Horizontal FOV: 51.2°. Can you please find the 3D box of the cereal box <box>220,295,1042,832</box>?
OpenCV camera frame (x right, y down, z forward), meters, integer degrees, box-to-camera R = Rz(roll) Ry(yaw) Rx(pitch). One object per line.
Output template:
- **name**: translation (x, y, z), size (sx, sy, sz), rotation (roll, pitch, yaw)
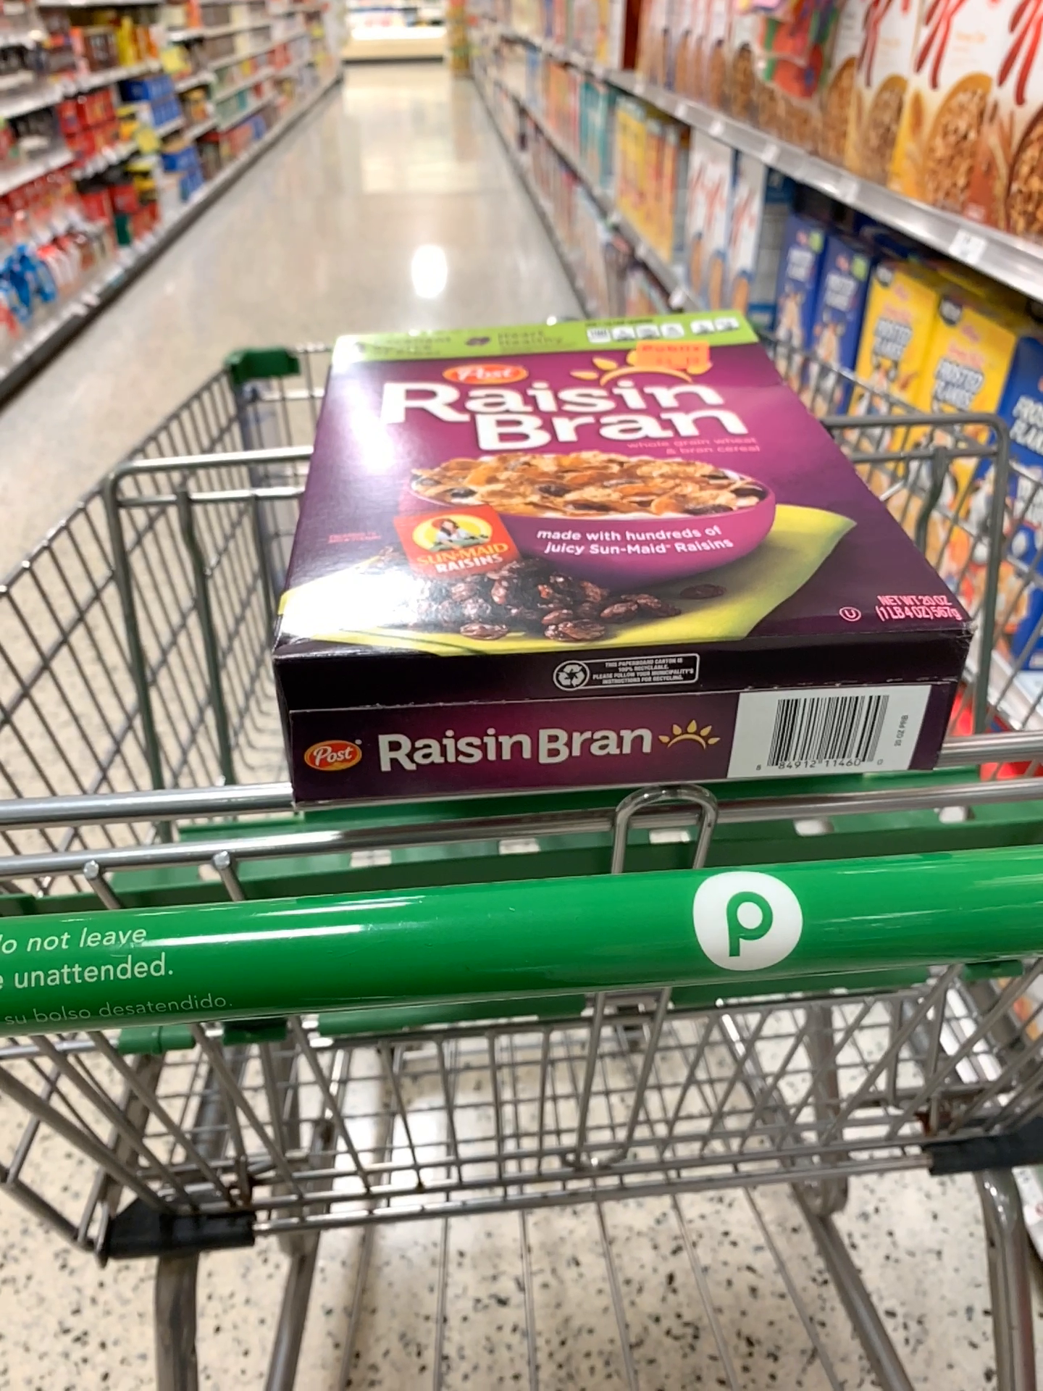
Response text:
- **cereal box**: translation (0.020, -0.075, 0.404), size (0.210, 0.059, 0.283), rotation (-4, 35, -3)
